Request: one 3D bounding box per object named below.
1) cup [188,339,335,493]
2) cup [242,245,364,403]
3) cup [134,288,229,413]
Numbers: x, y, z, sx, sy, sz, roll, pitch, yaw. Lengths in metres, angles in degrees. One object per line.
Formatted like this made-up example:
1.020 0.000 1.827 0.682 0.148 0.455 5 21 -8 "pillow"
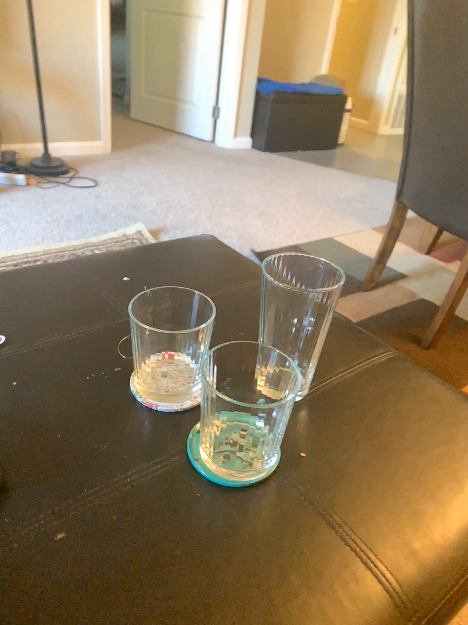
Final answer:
0.018 0.089 0.434 0.100 0.089 0.091 -2 32 -14 "cup"
0.066 0.011 0.520 0.080 0.139 0.091 -2 32 -14 "cup"
-0.064 0.040 0.542 0.090 0.109 0.080 -2 32 -14 "cup"
